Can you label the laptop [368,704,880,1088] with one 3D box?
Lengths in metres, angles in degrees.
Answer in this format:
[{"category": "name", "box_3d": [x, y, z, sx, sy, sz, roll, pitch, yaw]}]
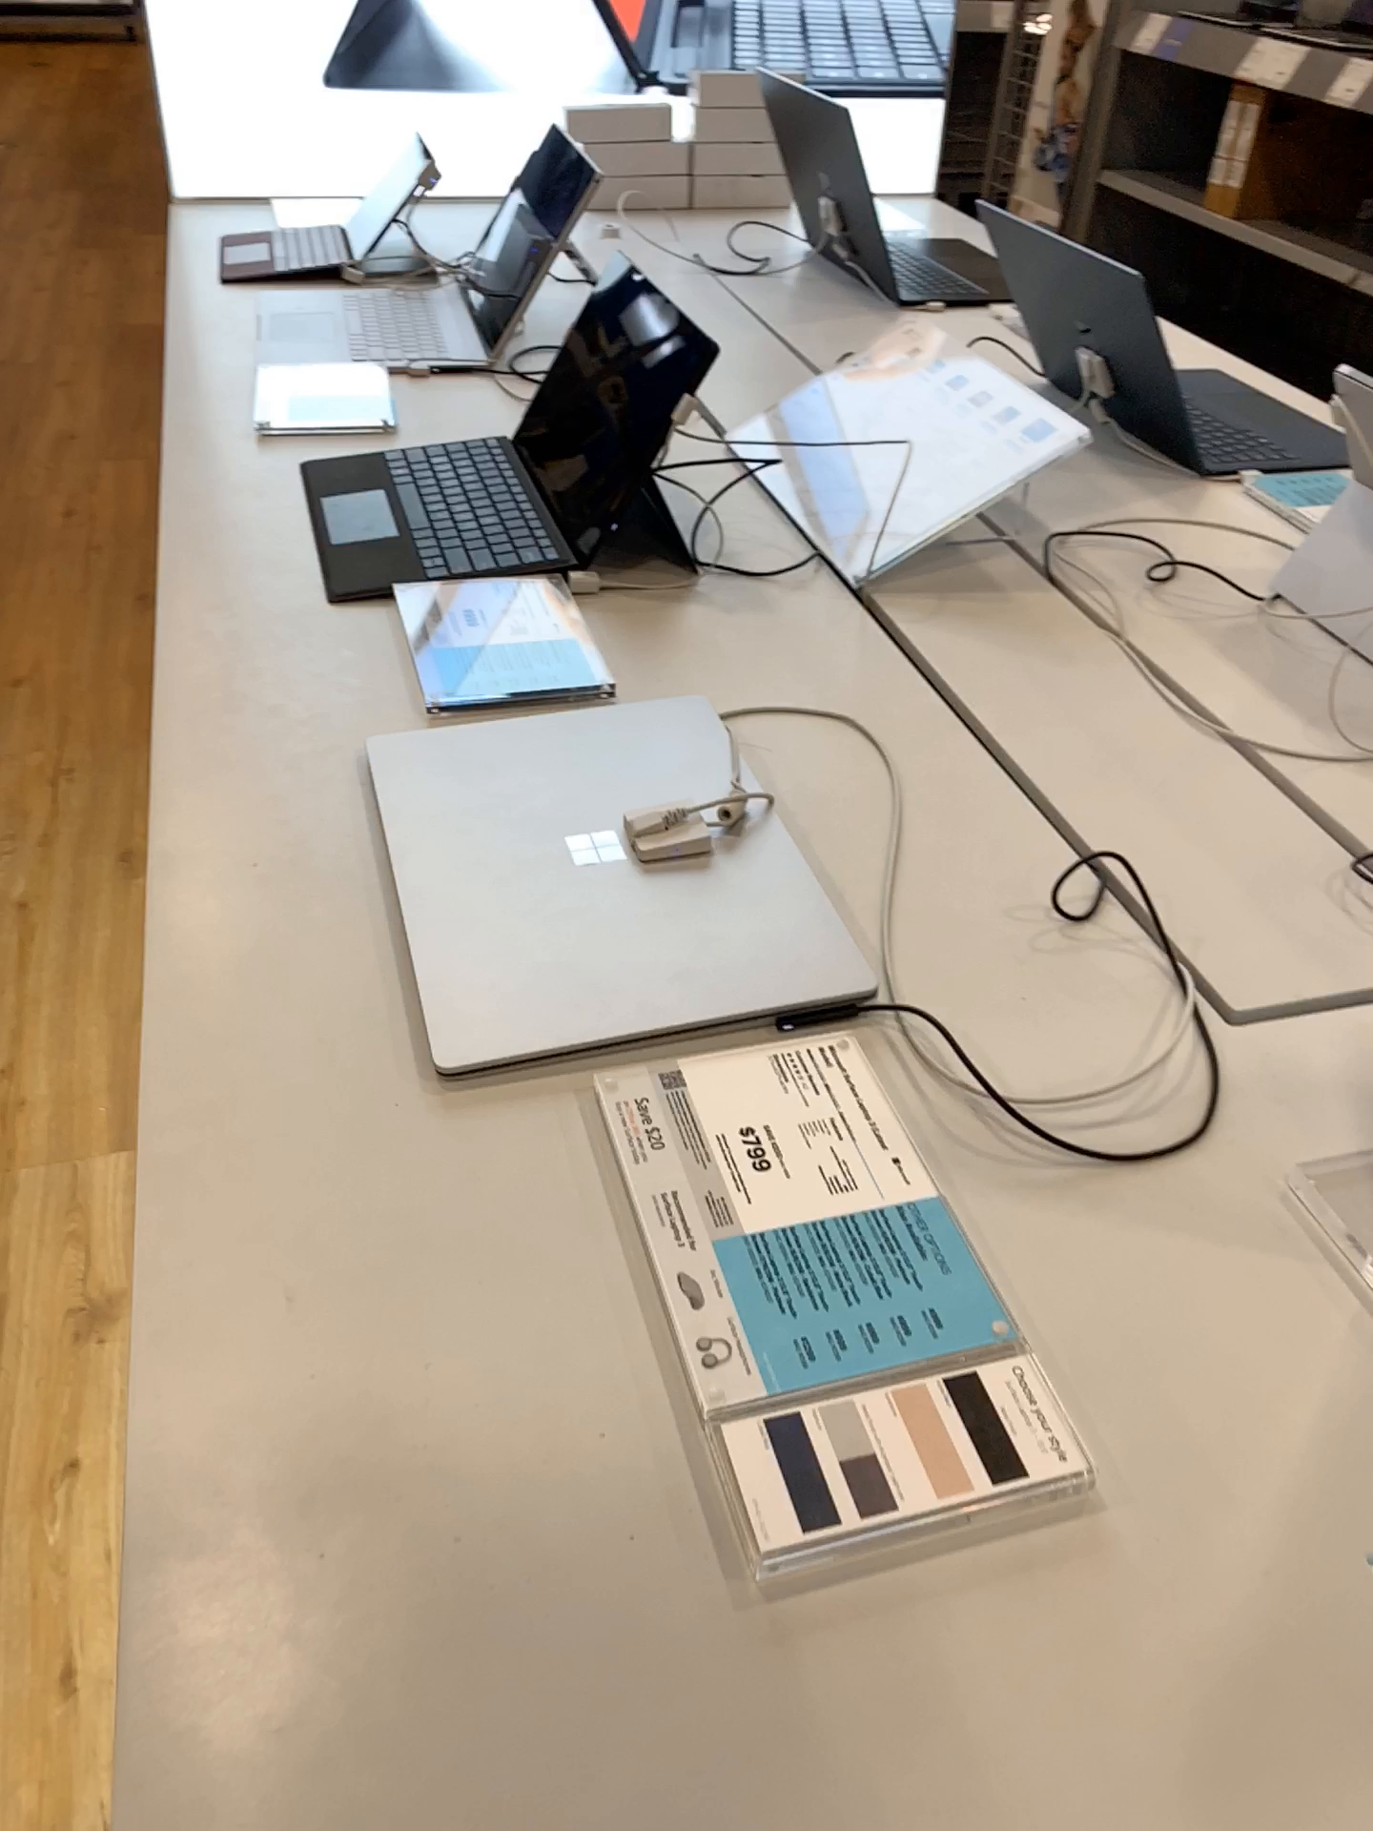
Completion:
[{"category": "laptop", "box_3d": [-0.051, -0.029, 0.792, 0.220, 0.008, 0.298, -10, 40, -13]}]
